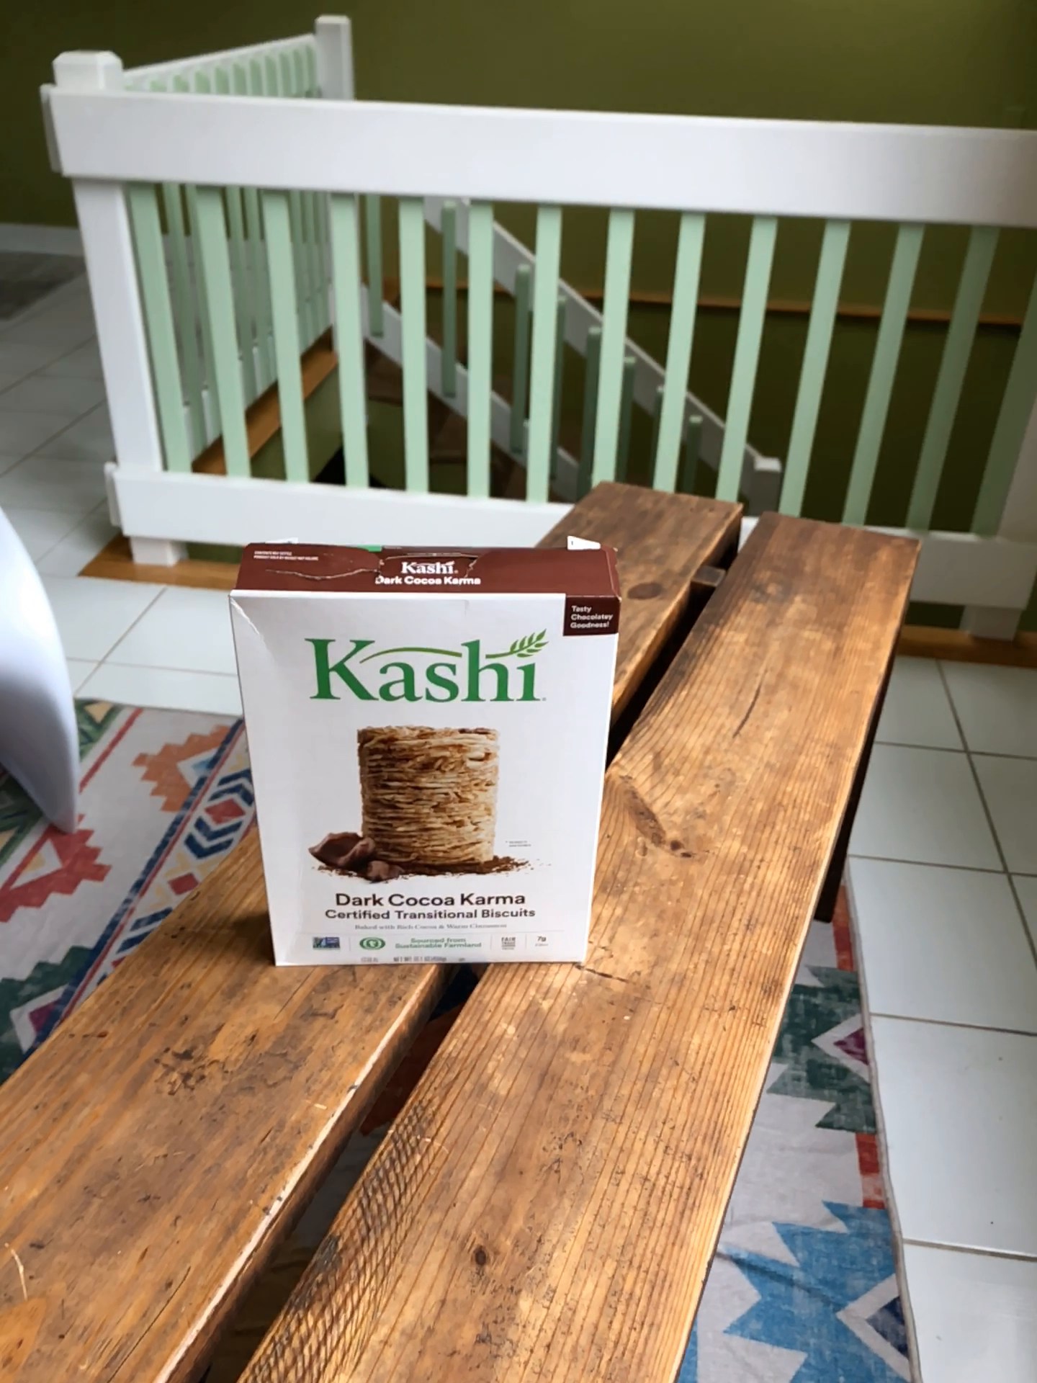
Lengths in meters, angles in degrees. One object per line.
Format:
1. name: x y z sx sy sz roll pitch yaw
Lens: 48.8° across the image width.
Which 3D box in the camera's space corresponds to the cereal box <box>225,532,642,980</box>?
1. cereal box: -0.047 0.048 0.655 0.200 0.278 0.060 0 36 -4
